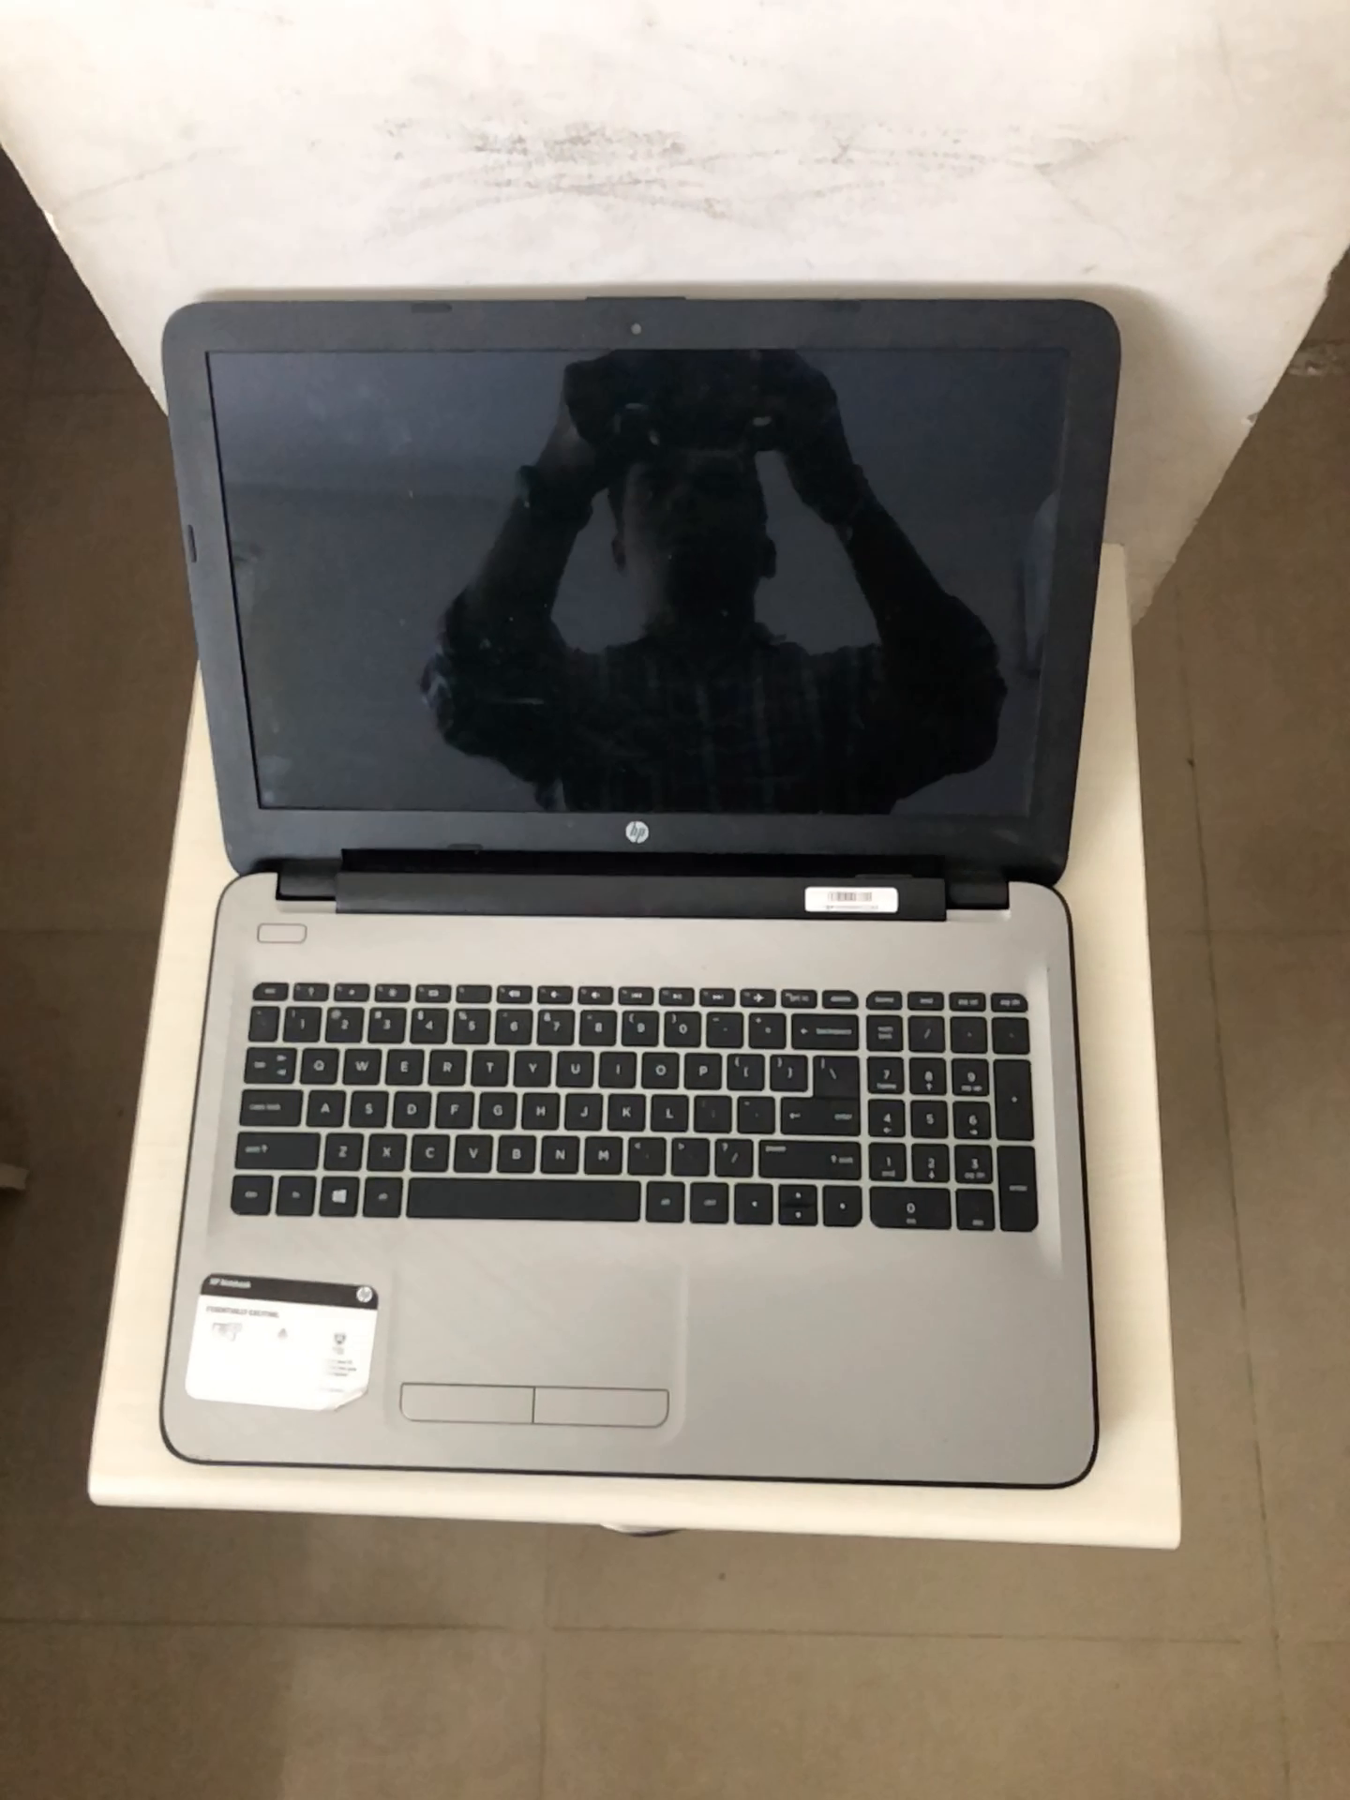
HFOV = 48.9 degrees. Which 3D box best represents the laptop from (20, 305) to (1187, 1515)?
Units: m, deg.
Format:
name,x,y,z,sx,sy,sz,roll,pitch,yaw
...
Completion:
name,x,y,z,sx,sy,sz,roll,pitch,yaw
laptop,-0.017,-0.002,0.579,0.361,0.137,0.426,1,75,2
